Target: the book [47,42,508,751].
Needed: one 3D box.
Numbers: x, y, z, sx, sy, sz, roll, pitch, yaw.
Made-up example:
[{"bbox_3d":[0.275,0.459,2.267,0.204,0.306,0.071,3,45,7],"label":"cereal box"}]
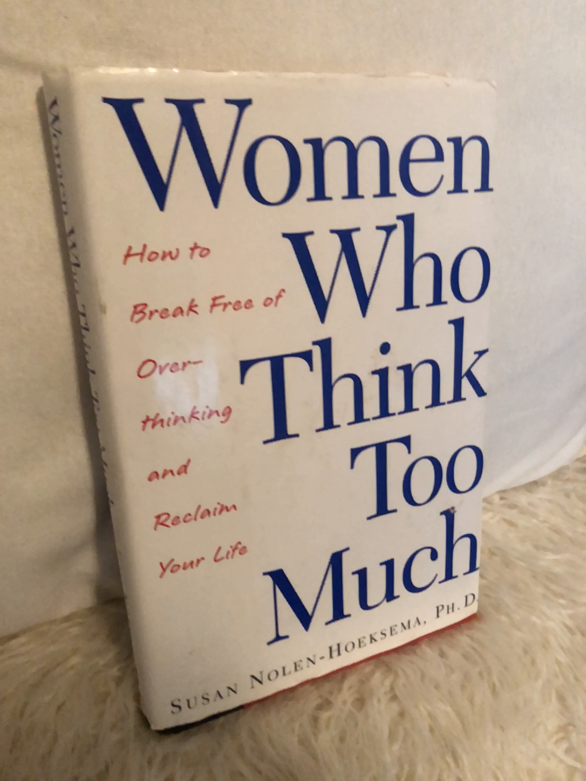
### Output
[{"bbox_3d":[0.007,0.000,0.267,0.166,0.241,0.040,-10,16,-25],"label":"book"}]
